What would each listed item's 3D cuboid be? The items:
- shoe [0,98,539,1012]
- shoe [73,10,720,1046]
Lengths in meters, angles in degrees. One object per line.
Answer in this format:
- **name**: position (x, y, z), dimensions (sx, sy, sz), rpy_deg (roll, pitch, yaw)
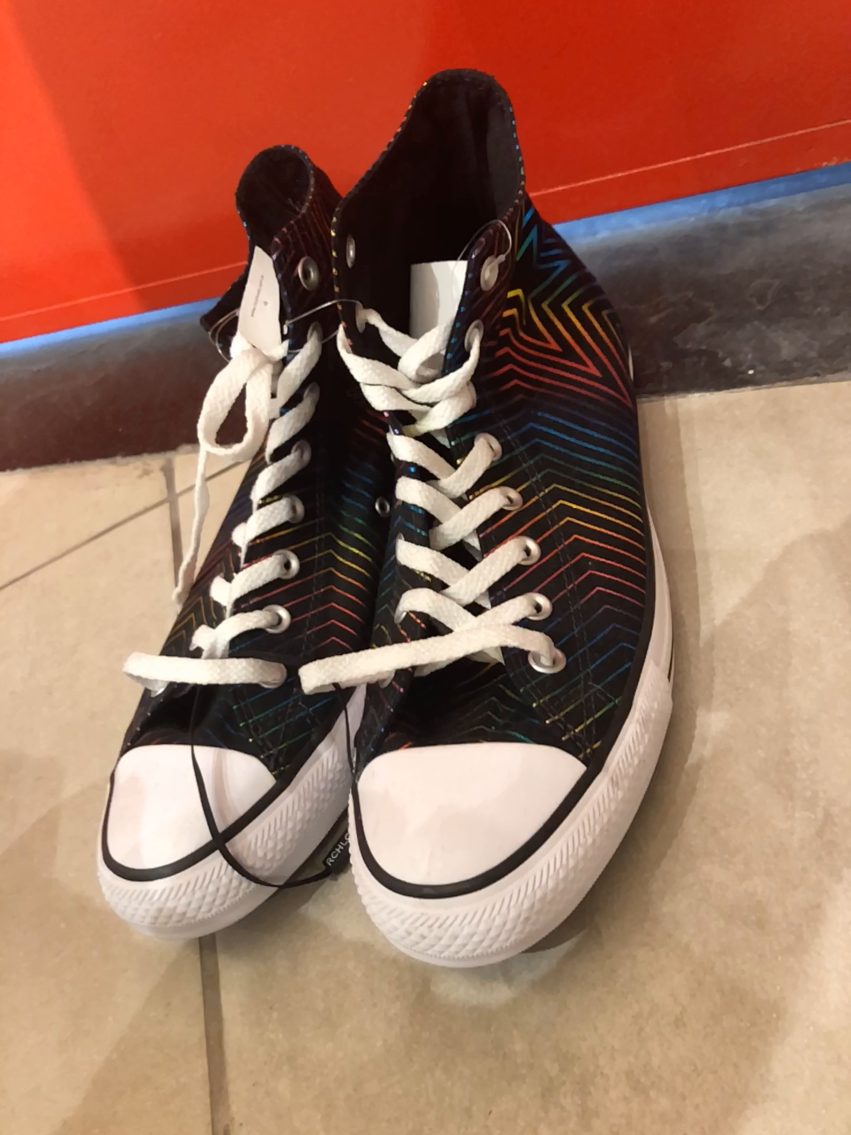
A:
- **shoe**: position (-0.052, -0.020, 0.366), dimensions (0.110, 0.139, 0.311), rpy_deg (-5, 51, 26)
- **shoe**: position (0.027, -0.030, 0.320), dimensions (0.110, 0.139, 0.311), rpy_deg (-8, 49, 25)
